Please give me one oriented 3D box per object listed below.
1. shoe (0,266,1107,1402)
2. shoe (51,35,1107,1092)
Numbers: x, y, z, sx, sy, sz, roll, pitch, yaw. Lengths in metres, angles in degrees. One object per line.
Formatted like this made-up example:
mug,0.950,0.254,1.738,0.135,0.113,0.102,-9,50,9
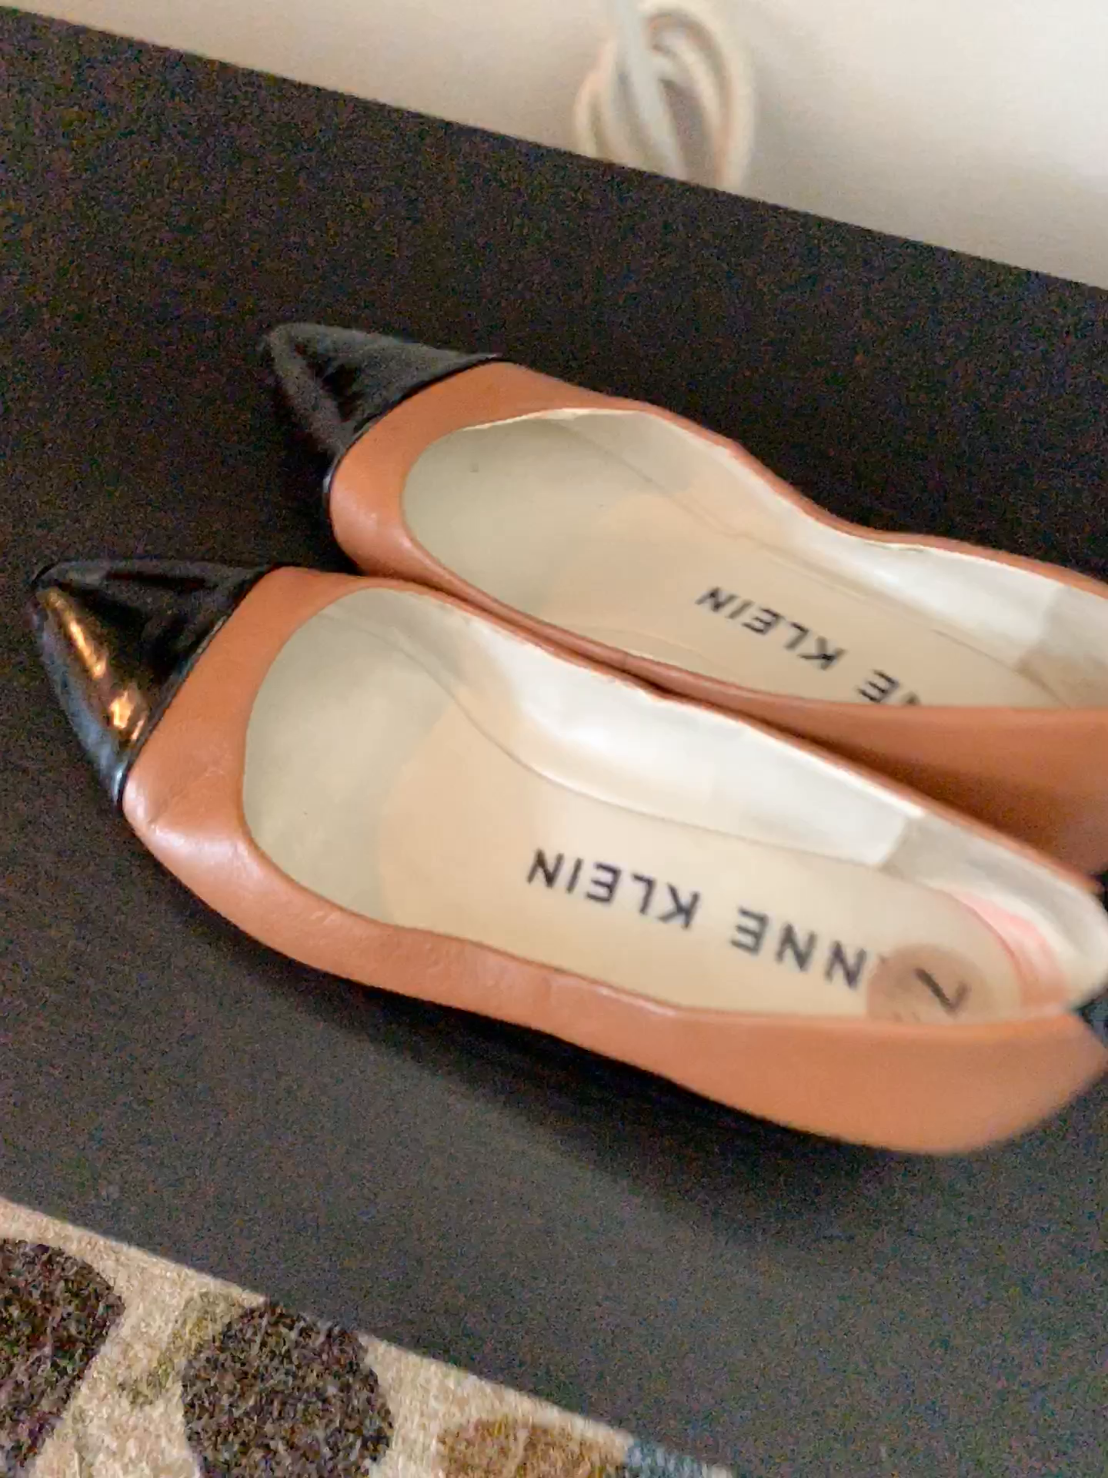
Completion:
shoe,-0.021,0.017,0.238,0.260,0.099,0.093,27,64,11
shoe,0.020,-0.049,0.262,0.260,0.079,0.093,37,66,15
